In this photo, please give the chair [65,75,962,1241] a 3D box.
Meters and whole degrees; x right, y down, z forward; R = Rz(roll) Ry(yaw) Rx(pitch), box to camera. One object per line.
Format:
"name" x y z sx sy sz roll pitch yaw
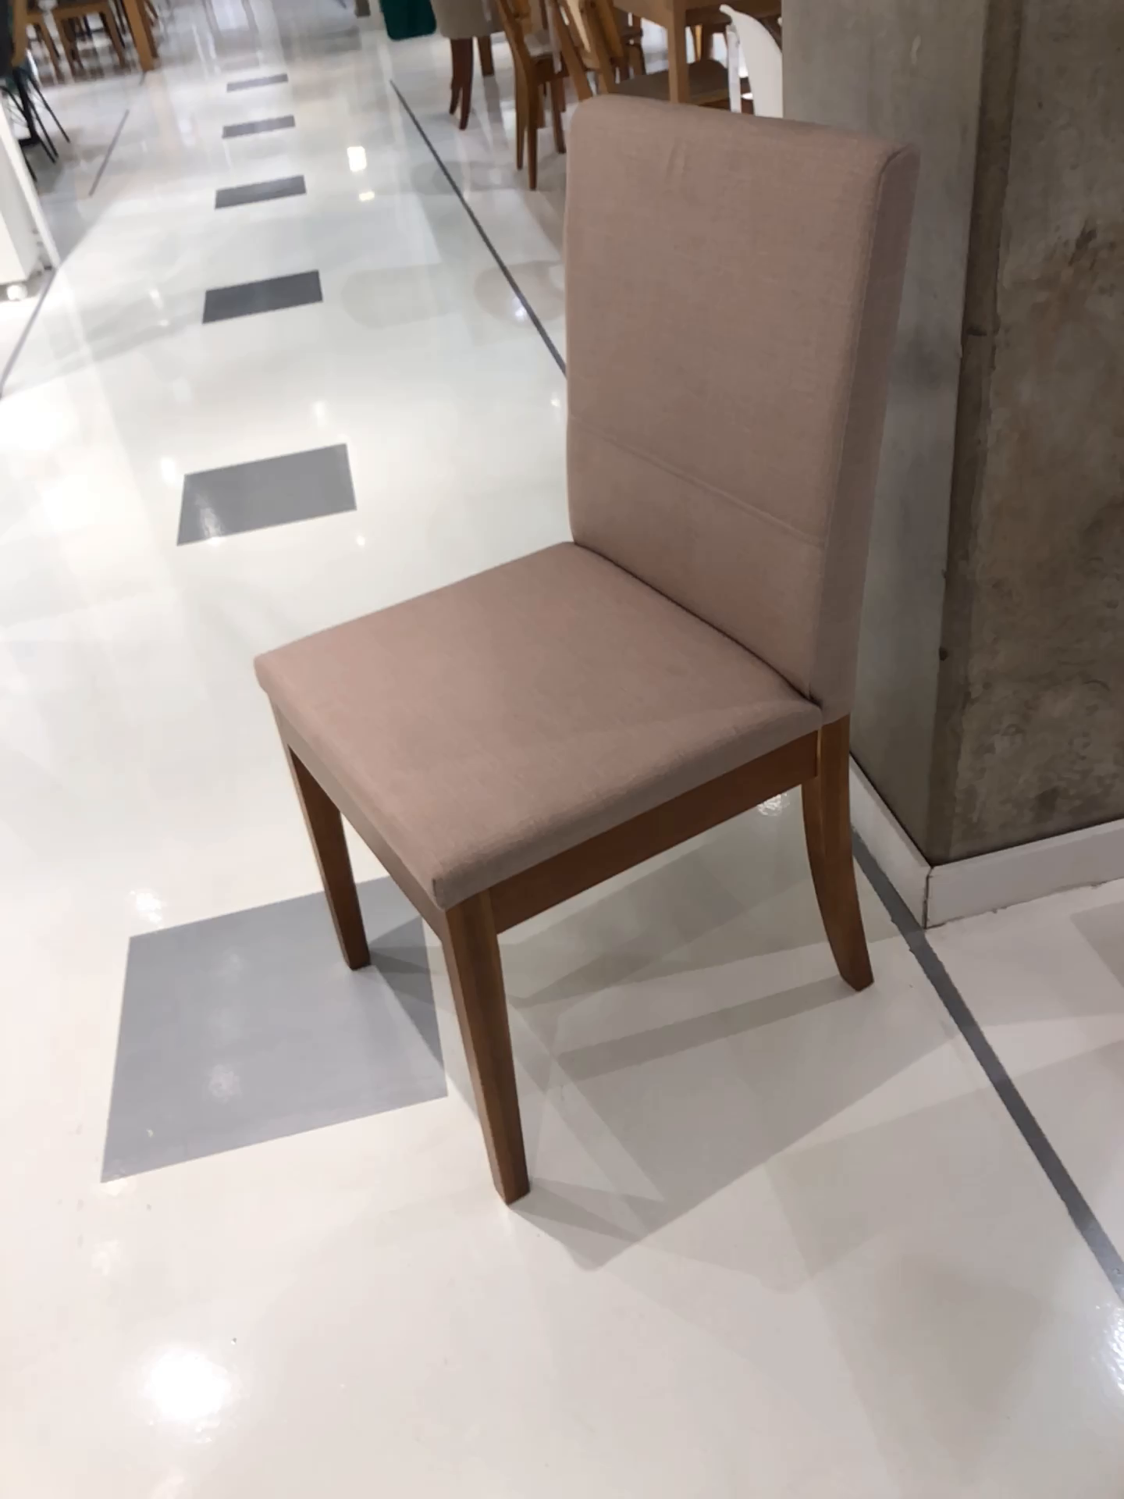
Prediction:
"chair" -0.022 -0.106 1.290 0.541 0.932 0.564 -24 39 -20
